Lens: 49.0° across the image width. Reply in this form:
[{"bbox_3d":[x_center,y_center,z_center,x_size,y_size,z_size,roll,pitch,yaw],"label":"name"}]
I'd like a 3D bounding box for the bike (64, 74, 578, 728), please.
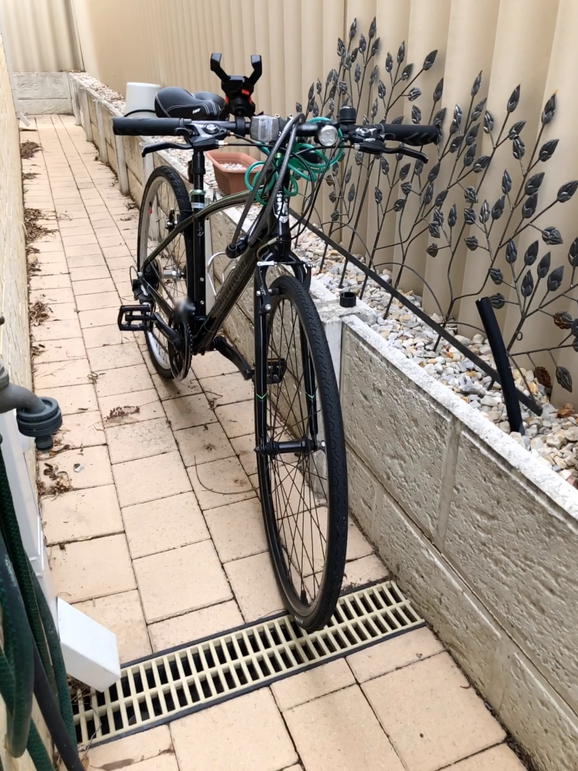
[{"bbox_3d":[-0.112,-0.266,1.611,0.638,0.859,1.706,-10,31,-19],"label":"bike"}]
